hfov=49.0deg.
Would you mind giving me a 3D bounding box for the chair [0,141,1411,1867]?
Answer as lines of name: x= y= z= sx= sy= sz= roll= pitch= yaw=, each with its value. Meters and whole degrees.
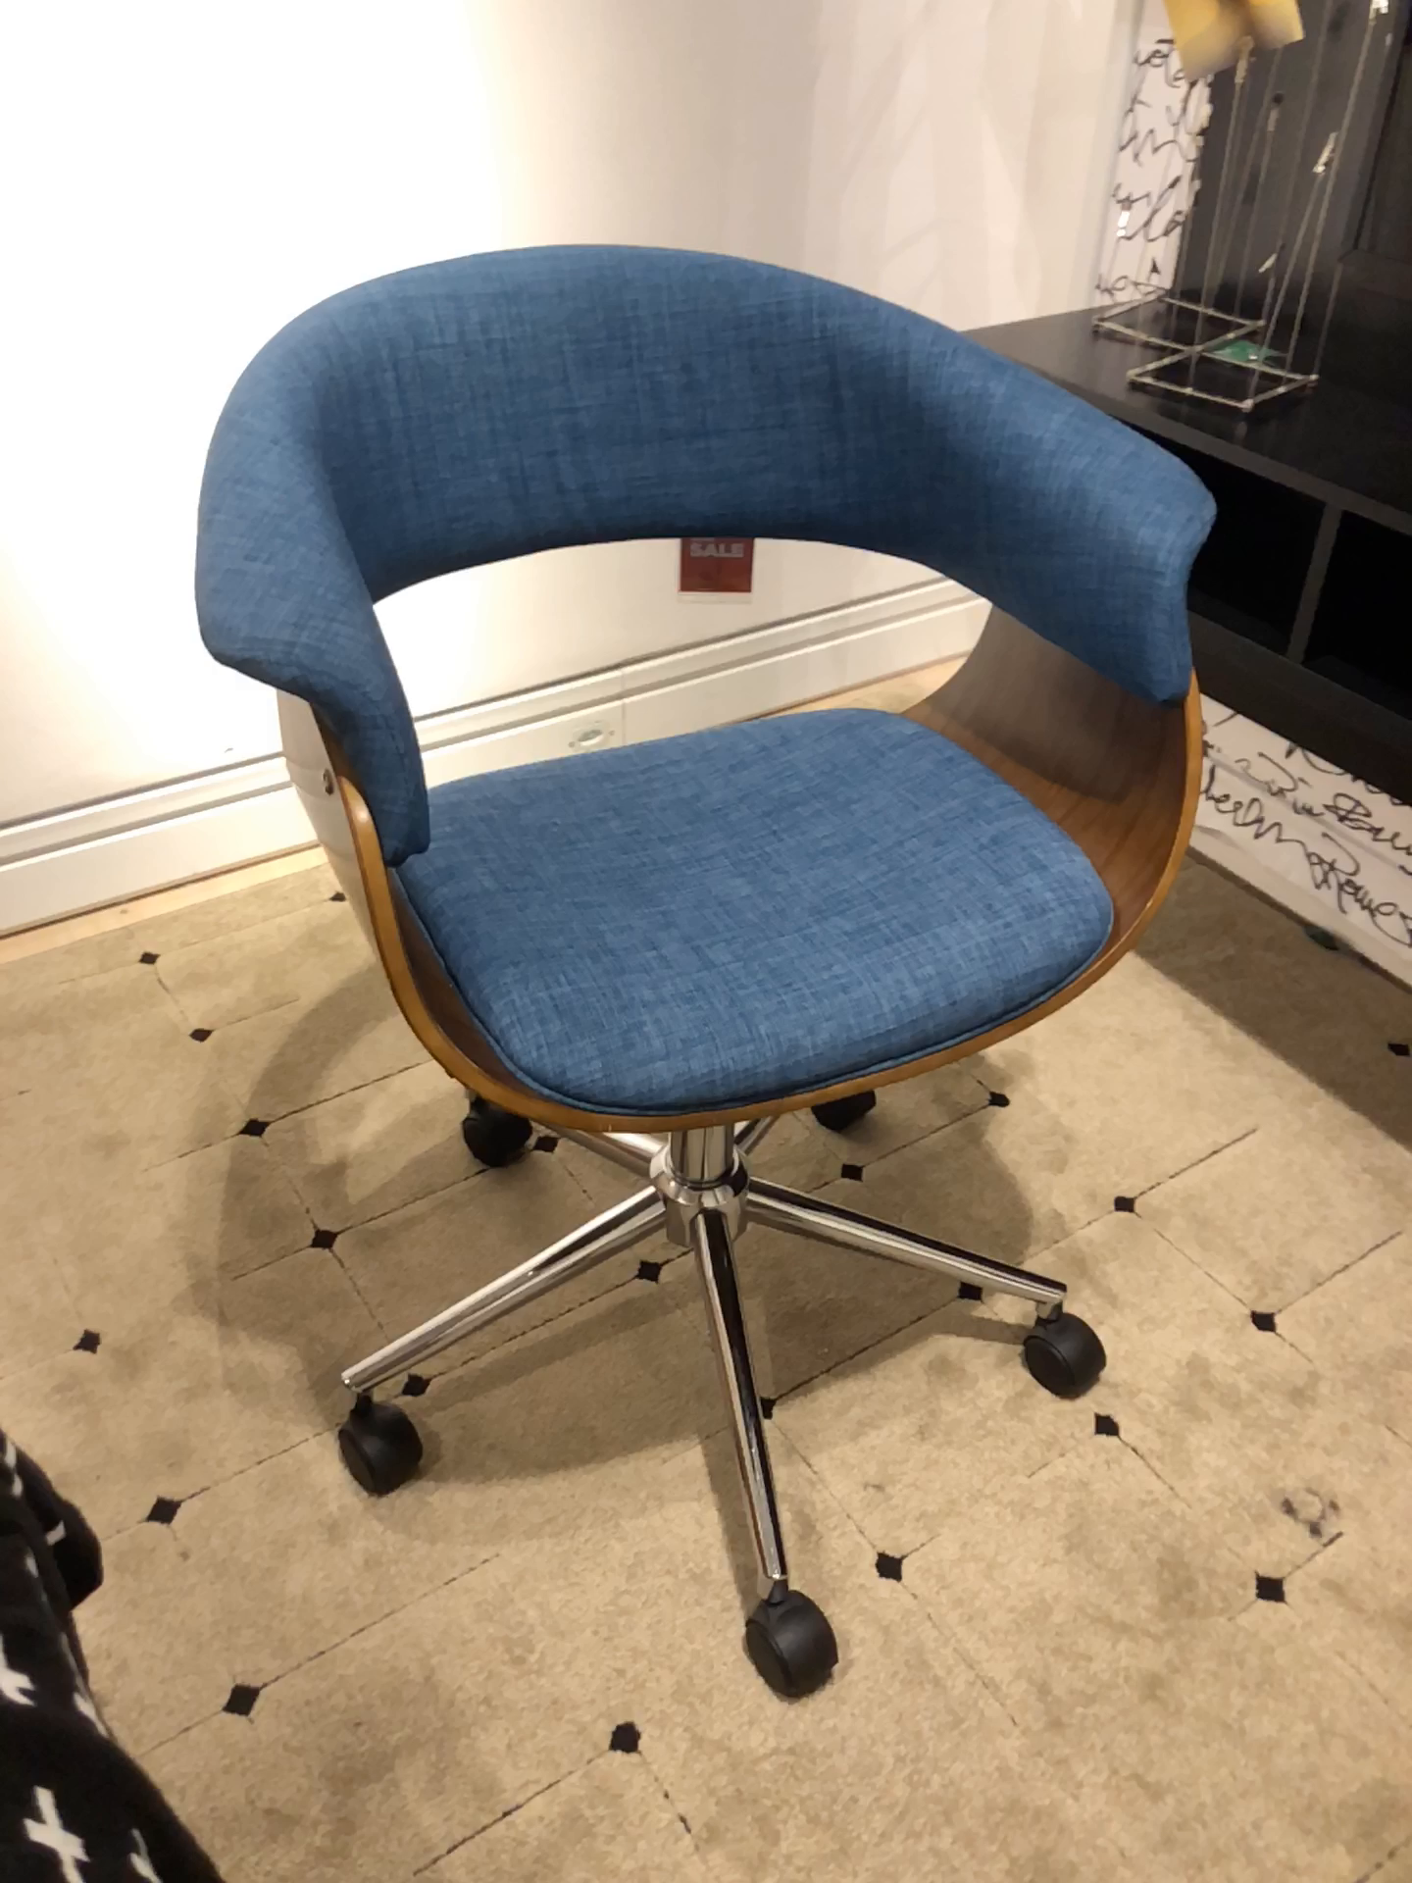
chair: x=-0.020 y=-0.031 z=1.043 sx=0.611 sy=0.774 sz=0.674 roll=-18 pitch=41 yaw=-25
